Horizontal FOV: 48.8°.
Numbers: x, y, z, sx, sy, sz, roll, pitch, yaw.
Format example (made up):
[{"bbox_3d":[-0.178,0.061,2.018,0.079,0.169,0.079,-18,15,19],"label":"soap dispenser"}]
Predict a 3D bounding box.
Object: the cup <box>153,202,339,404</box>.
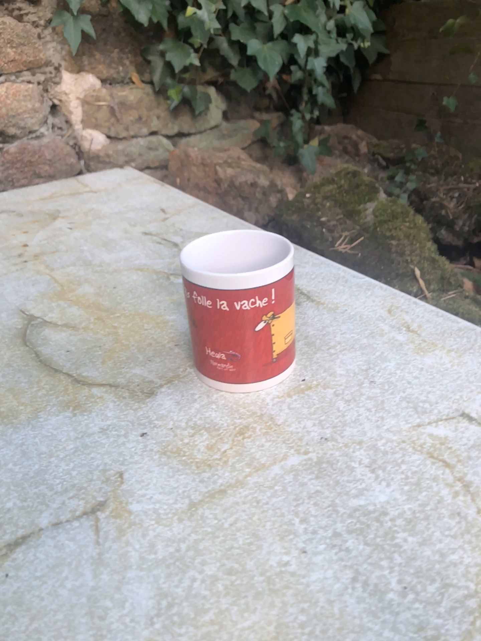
[{"bbox_3d":[0.012,-0.021,0.386,0.086,0.083,0.130,9,34,20],"label":"cup"}]
